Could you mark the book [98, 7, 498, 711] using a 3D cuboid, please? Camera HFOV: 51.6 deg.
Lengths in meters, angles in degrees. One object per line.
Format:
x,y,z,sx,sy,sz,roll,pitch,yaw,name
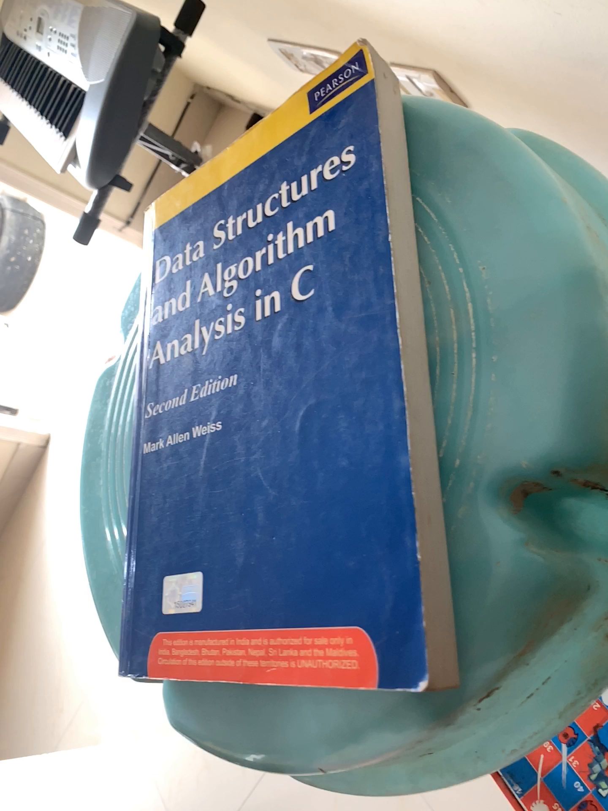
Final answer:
-0.019,-0.014,0.257,0.161,0.030,0.241,-19,64,39,book
